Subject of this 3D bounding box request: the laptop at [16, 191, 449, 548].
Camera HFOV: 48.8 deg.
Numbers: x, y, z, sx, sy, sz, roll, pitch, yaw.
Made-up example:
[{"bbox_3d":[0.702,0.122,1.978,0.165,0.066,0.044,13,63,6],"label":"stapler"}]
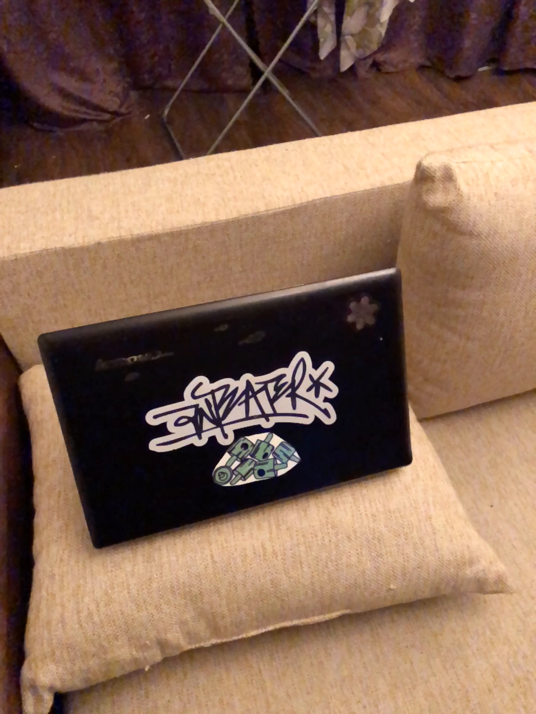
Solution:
[{"bbox_3d":[-0.048,0.005,0.725,0.413,0.223,0.268,-13,54,-12],"label":"laptop"}]
